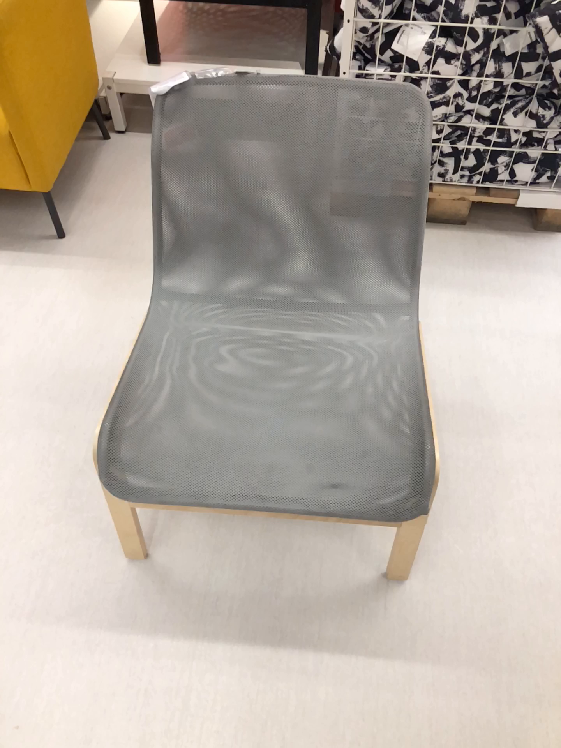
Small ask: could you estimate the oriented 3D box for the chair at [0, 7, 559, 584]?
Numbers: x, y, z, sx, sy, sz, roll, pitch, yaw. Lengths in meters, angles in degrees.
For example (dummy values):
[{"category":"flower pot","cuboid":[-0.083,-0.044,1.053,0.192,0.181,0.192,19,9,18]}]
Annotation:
[{"category":"chair","cuboid":[-0.007,-0.093,1.155,0.630,0.825,0.644,4,53,3]}]
